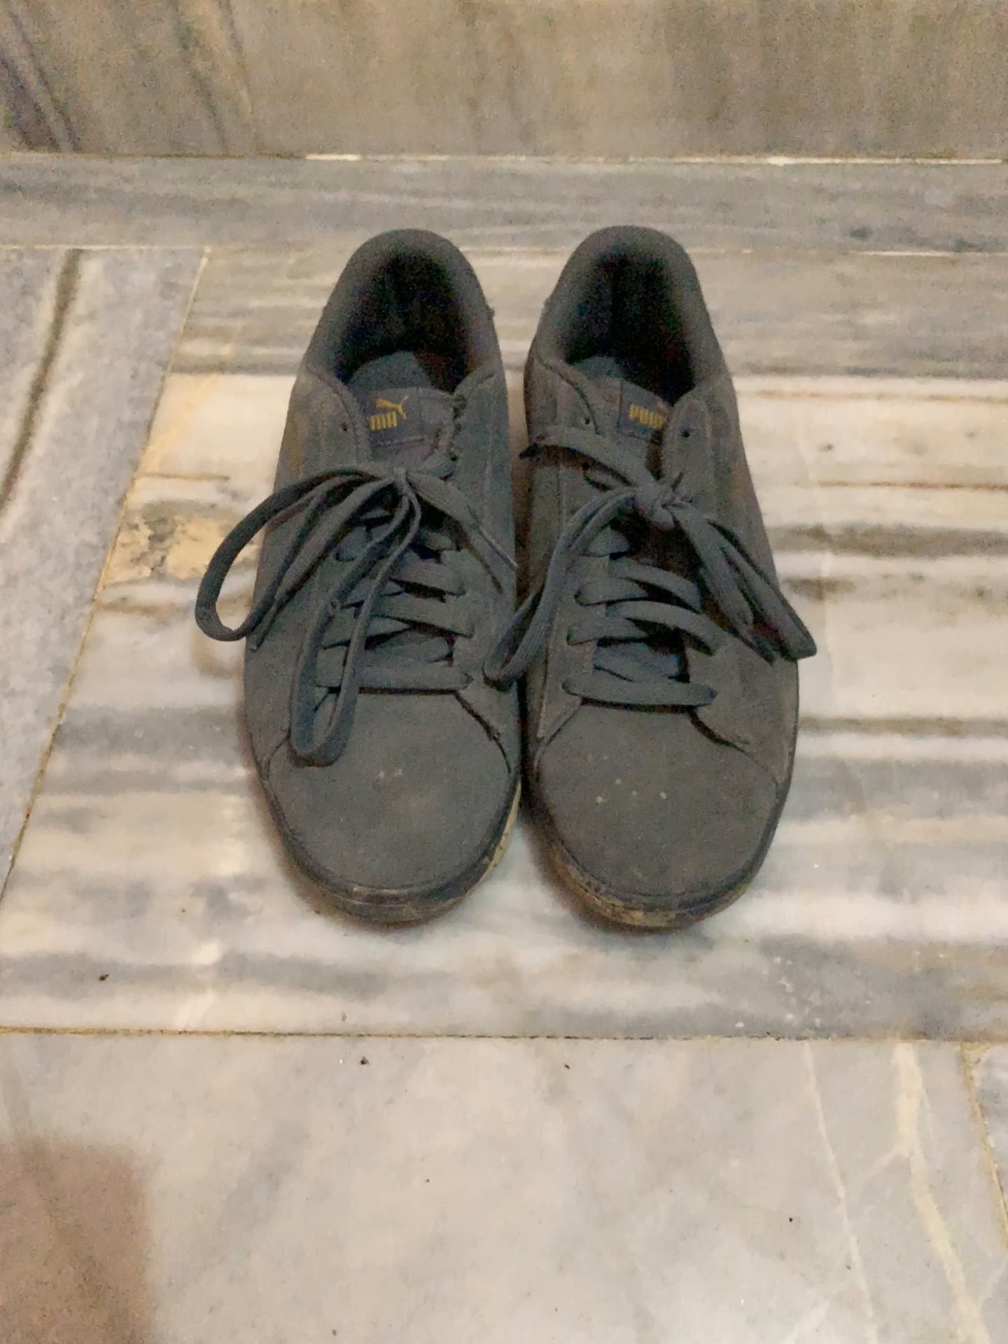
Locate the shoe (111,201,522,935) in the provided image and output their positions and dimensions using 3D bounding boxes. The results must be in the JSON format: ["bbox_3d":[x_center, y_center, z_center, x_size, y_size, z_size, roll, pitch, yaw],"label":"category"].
[{"bbox_3d":[-0.050,-0.056,0.408,0.110,0.100,0.290,1,55,0],"label":"shoe"}]

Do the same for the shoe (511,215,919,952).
[{"bbox_3d":[0.061,-0.050,0.408,0.110,0.100,0.290,1,55,0],"label":"shoe"}]
